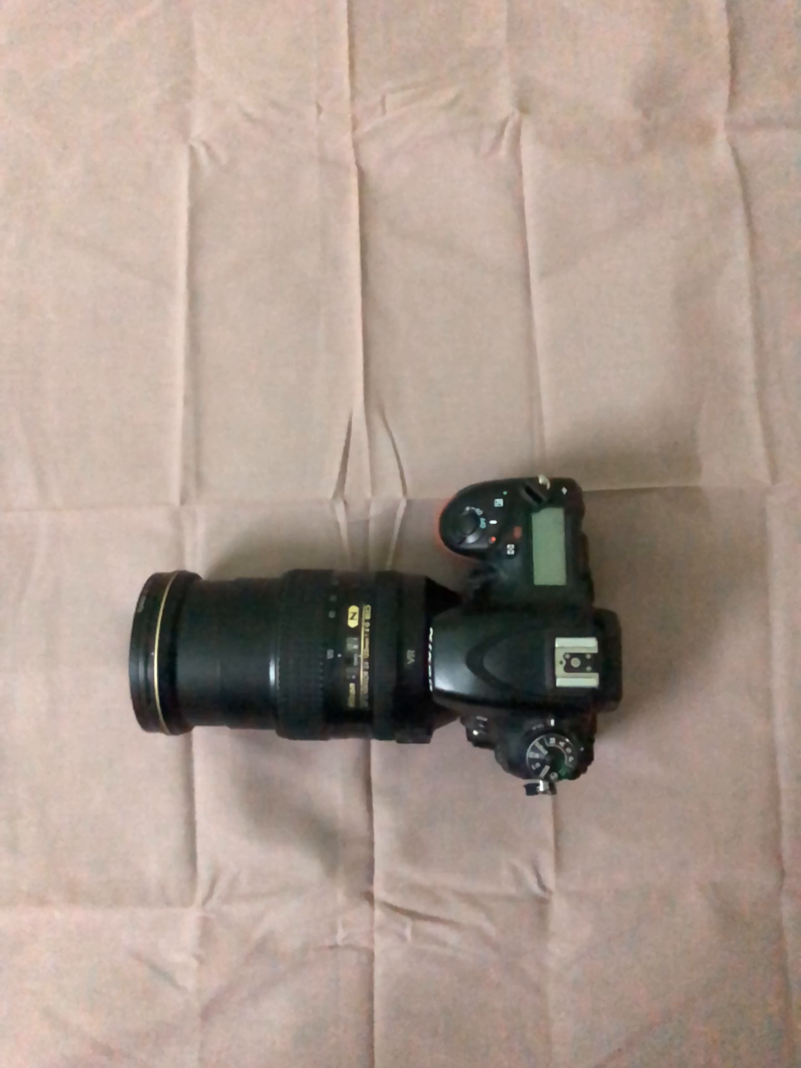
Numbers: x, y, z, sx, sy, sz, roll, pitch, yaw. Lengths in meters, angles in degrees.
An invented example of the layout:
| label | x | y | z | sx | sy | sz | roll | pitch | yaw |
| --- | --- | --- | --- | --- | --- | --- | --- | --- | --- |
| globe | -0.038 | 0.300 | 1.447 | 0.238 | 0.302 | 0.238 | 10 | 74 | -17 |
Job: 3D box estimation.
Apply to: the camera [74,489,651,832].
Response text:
| label | x | y | z | sx | sy | sz | roll | pitch | yaw |
| --- | --- | --- | --- | --- | --- | --- | --- | --- | --- |
| camera | -0.015 | 0.057 | 0.419 | 0.231 | 0.110 | 0.139 | 0 | 83 | 1 |
